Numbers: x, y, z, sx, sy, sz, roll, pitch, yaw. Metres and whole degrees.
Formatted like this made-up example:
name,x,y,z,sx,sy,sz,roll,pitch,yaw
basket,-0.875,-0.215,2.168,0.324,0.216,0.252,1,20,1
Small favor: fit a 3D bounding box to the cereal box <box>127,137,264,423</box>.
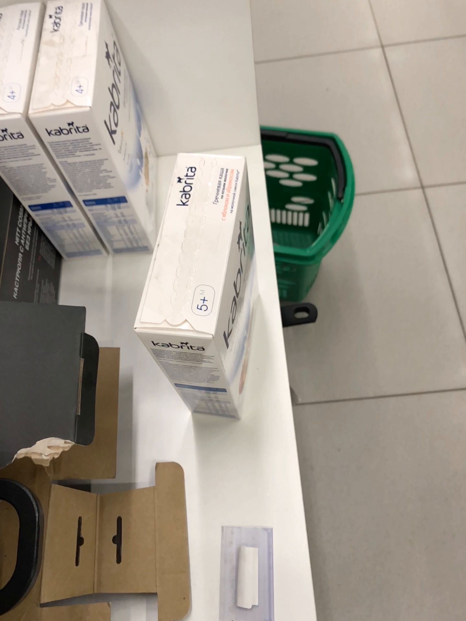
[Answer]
name,x,y,z,sx,sy,sz,roll,pitch,yaw
cereal box,-0.014,-0.008,0.401,0.050,0.199,0.140,6,66,9
